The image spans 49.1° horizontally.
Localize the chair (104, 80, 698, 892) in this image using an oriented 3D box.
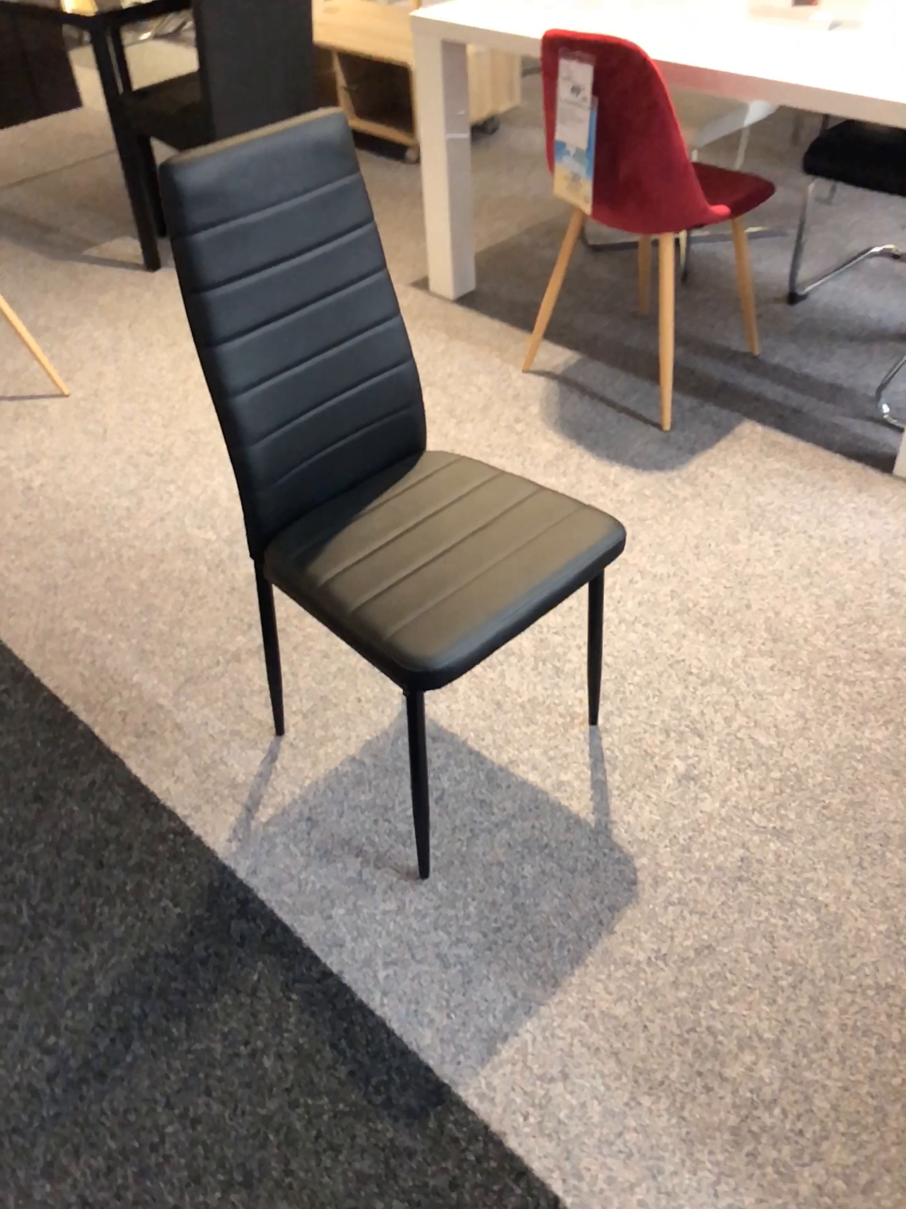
[{"bbox_3d":[-0.040,-0.145,1.414,0.472,0.934,0.471,-34,50,-30],"label":"chair"}]
